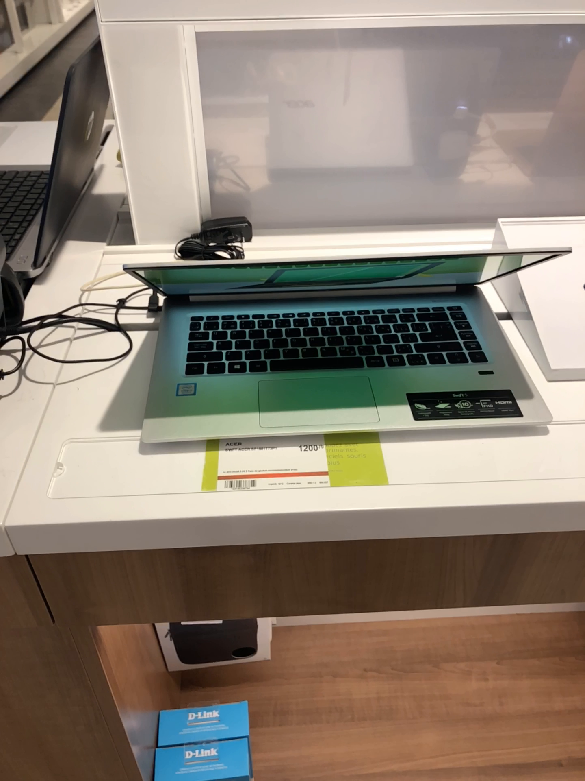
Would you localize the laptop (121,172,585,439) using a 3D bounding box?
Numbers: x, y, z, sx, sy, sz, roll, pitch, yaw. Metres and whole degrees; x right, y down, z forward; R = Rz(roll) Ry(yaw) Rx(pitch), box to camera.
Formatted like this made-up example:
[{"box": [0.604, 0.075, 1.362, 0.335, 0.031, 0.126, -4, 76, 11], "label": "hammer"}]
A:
[{"box": [0.043, -0.089, 0.595, 0.346, 0.132, 0.218, -2, 40, -3], "label": "laptop"}]
